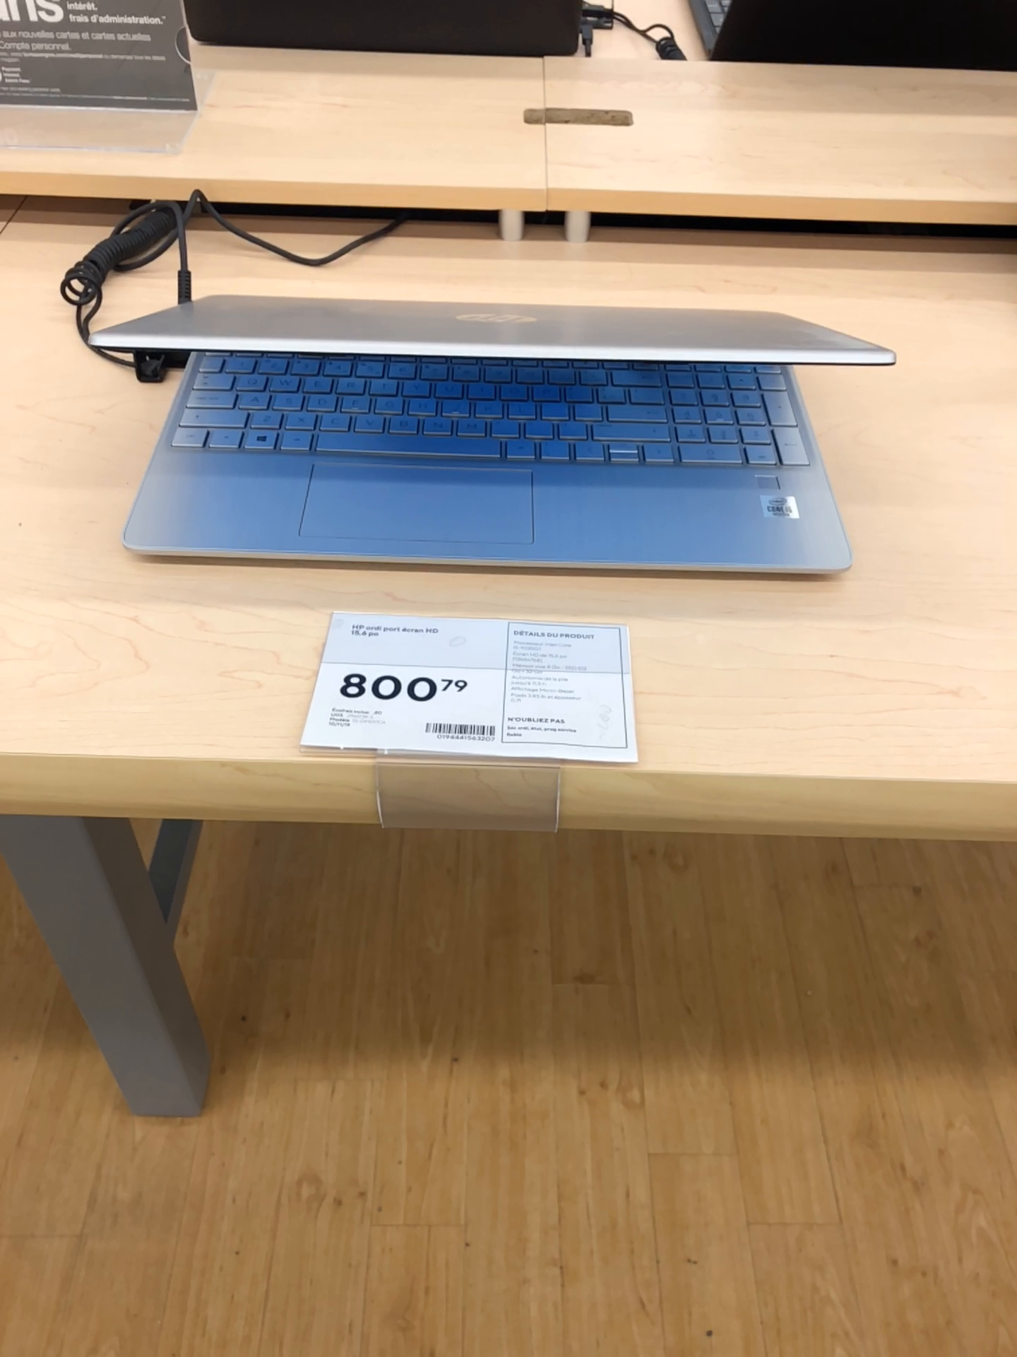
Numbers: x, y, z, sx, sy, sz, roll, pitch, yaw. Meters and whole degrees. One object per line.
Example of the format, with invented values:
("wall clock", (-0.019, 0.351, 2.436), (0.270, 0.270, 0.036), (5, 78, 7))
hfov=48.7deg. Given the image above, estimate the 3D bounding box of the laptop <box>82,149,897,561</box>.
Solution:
("laptop", (-0.005, -0.172, 0.575), (0.340, 0.086, 0.225), (2, 48, -2))
